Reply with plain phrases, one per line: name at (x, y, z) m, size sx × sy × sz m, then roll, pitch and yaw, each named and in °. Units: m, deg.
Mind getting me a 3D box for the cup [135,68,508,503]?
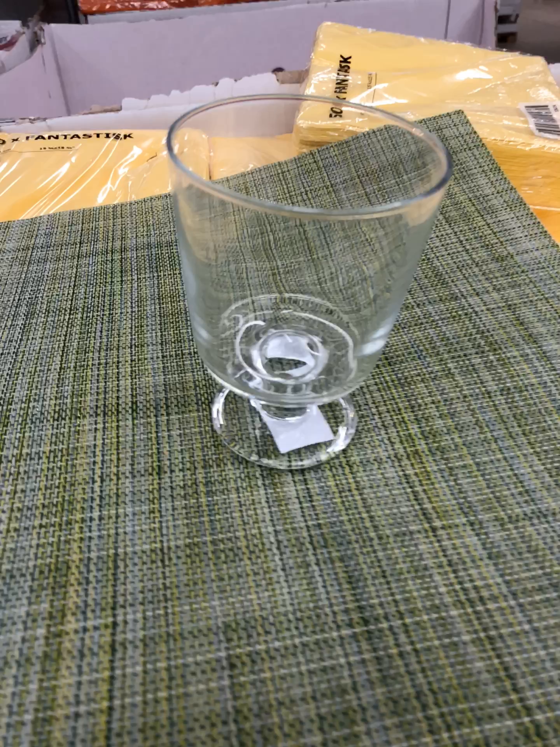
cup at (0.008, -0.030, 0.220) m, size 0.090 × 0.110 × 0.090 m, roll 4°, pitch 43°, yaw -4°
